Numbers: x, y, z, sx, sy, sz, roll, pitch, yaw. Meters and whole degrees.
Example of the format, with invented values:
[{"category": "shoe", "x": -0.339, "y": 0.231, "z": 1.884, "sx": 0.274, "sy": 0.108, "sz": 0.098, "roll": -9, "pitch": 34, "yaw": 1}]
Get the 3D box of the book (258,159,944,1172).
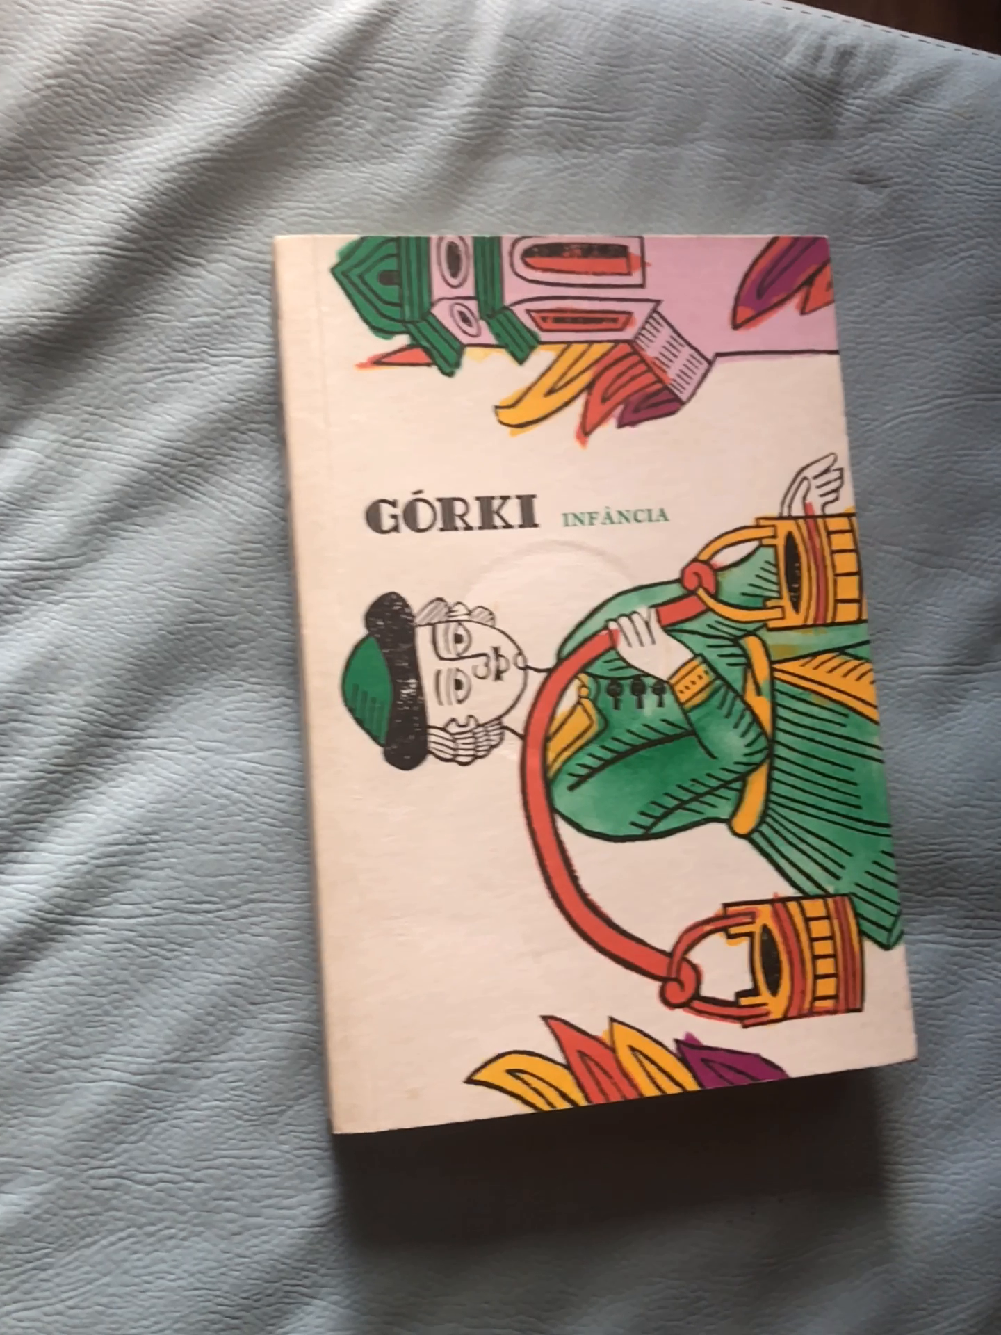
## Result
[{"category": "book", "x": 0.020, "y": -0.007, "z": 0.246, "sx": 0.130, "sy": 0.030, "sz": 0.200, "roll": -4, "pitch": 86, "yaw": -10}]
